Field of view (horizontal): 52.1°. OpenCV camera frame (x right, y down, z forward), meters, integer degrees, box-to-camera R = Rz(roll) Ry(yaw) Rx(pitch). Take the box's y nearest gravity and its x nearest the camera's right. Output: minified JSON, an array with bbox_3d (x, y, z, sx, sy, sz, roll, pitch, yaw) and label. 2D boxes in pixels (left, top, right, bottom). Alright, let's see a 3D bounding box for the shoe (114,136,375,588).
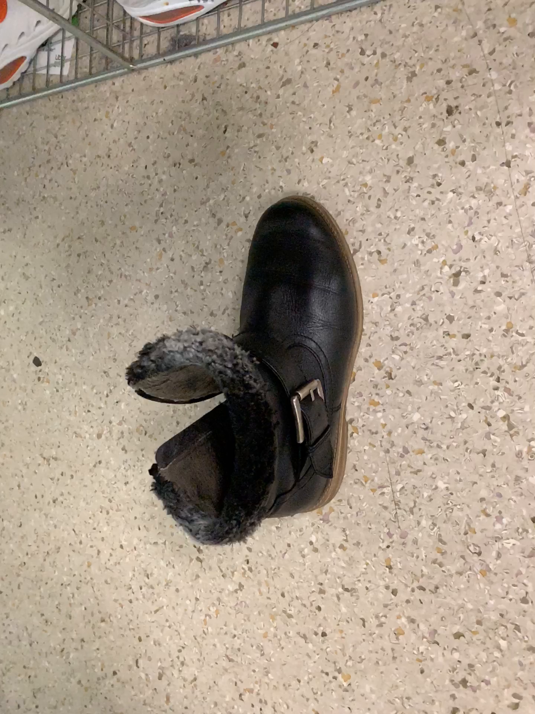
[{"bbox_3d":[-0.006,0.004,0.386,0.104,0.168,0.236,-2,88,31],"label":"shoe"}]
